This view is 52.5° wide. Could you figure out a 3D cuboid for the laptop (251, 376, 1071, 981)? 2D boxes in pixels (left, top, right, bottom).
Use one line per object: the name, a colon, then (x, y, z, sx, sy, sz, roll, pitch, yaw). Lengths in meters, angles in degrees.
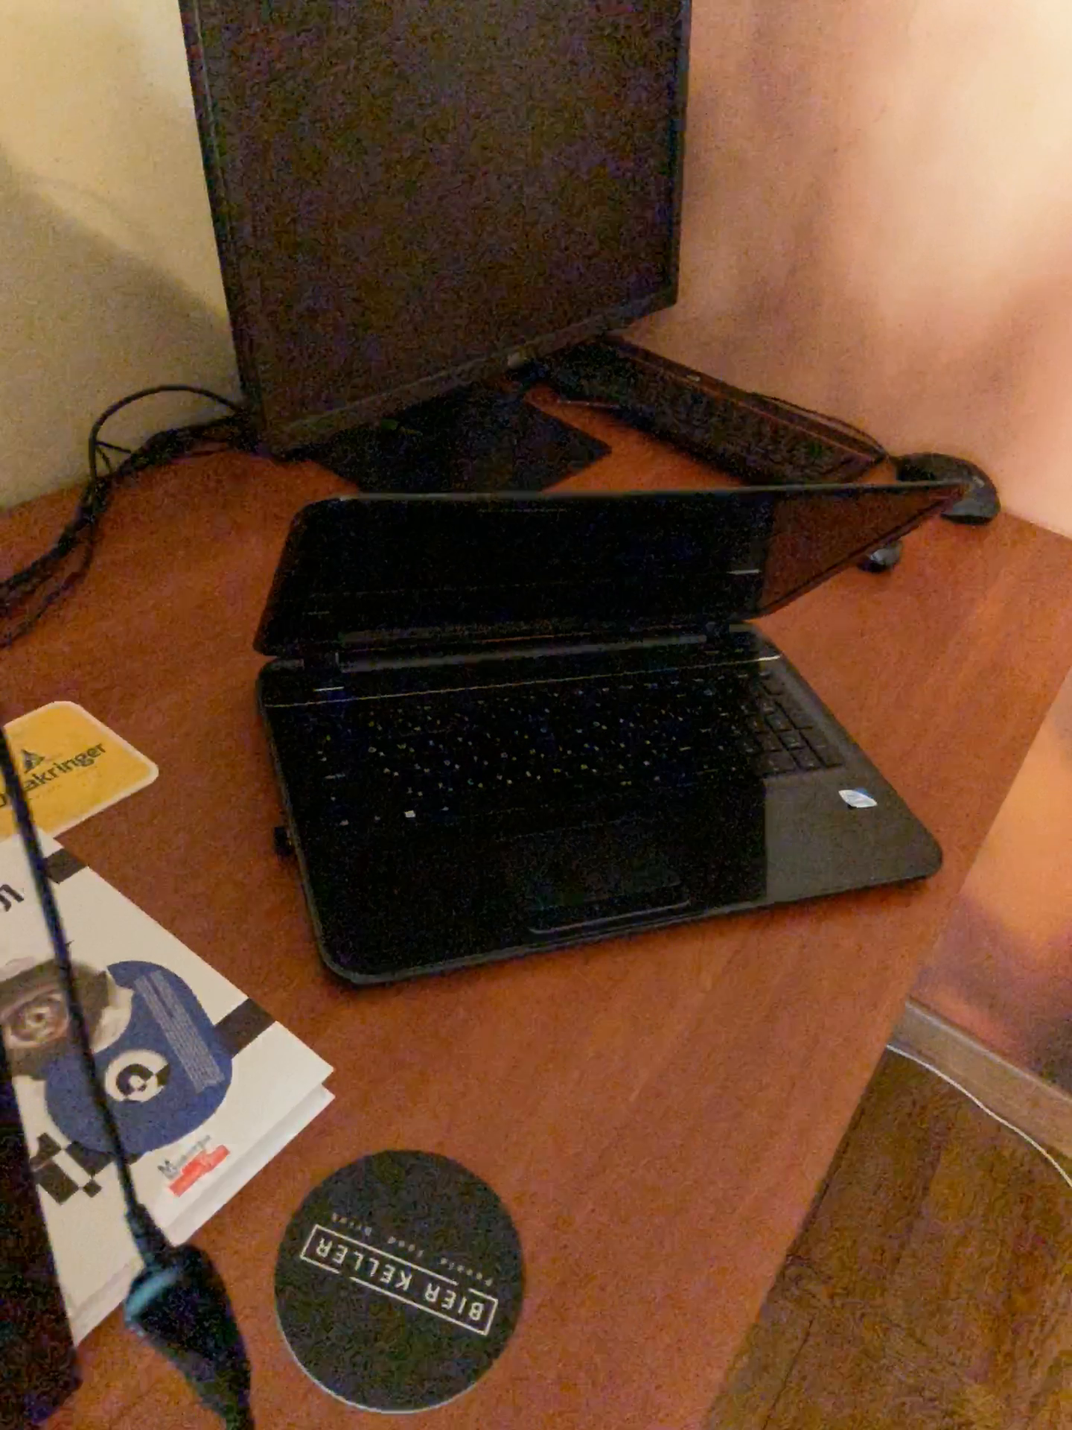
laptop: (0.048, -0.044, 0.615, 0.370, 0.194, 0.245, -6, 42, -22)
